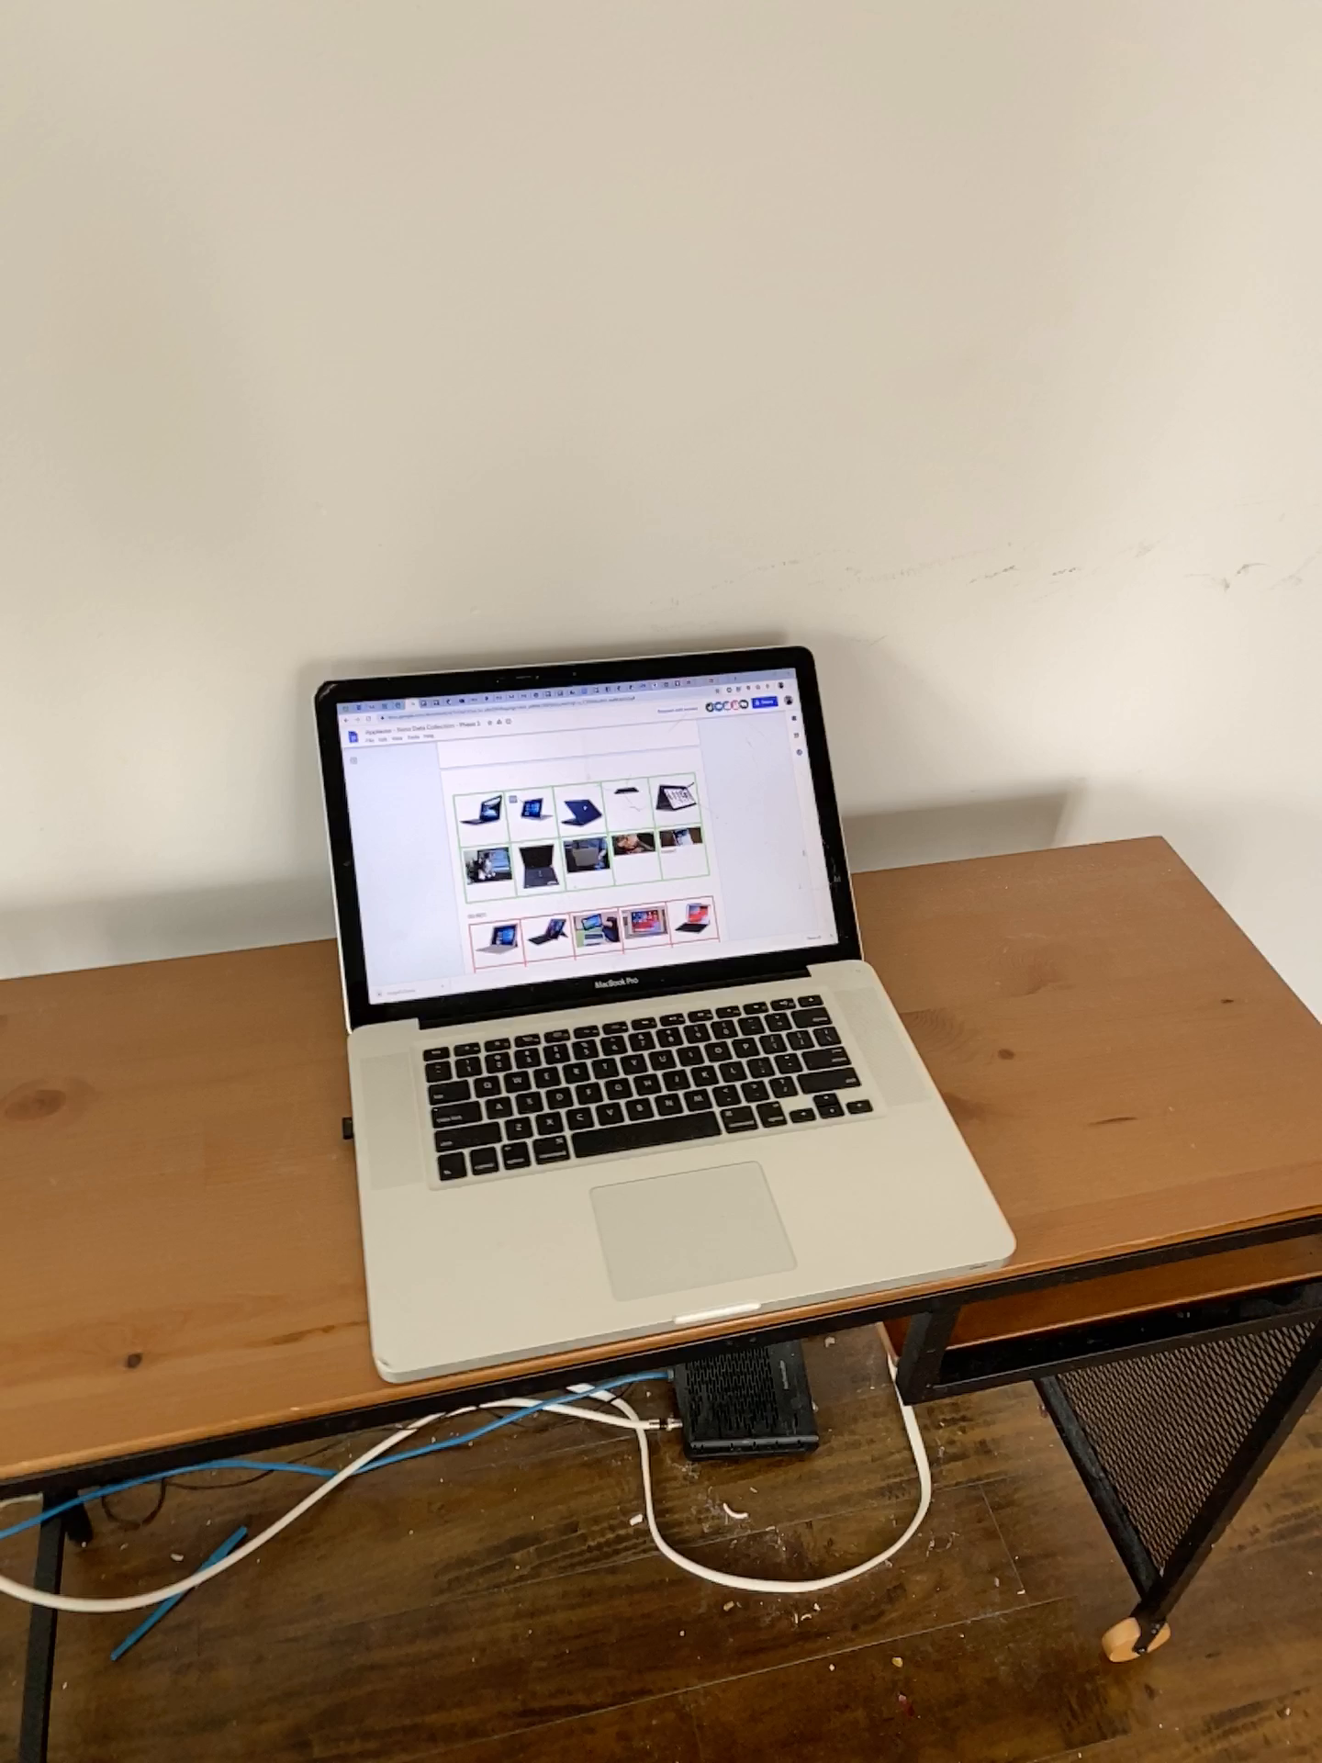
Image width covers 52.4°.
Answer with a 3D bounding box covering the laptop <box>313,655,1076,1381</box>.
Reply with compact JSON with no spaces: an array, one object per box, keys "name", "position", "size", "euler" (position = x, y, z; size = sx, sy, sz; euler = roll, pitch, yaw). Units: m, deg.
[{"name":"laptop","position":[-0.017,0.046,0.865],"size":[0.368,0.151,0.441],"euler":[-6,41,-12]}]
